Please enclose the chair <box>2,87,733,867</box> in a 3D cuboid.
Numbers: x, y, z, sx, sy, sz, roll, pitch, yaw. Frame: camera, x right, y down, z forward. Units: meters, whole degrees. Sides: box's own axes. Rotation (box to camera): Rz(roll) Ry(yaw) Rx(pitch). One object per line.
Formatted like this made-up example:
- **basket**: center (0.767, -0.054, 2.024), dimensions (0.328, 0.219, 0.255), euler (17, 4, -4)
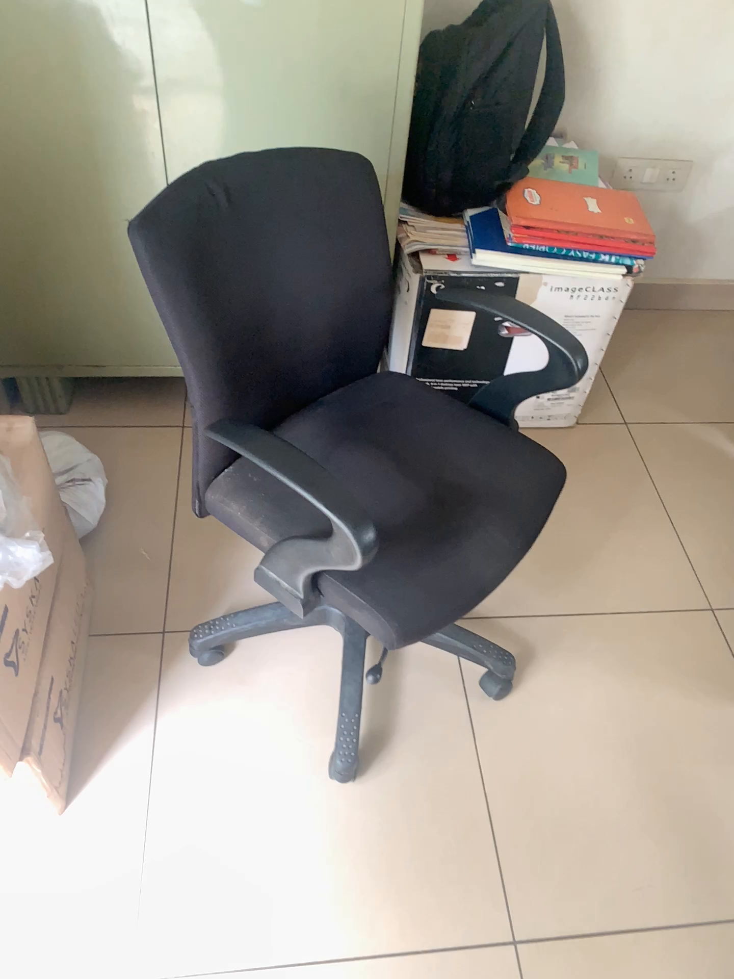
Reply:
- **chair**: center (0.016, -0.011, 1.295), dimensions (0.701, 0.927, 0.702), euler (33, 53, 21)
